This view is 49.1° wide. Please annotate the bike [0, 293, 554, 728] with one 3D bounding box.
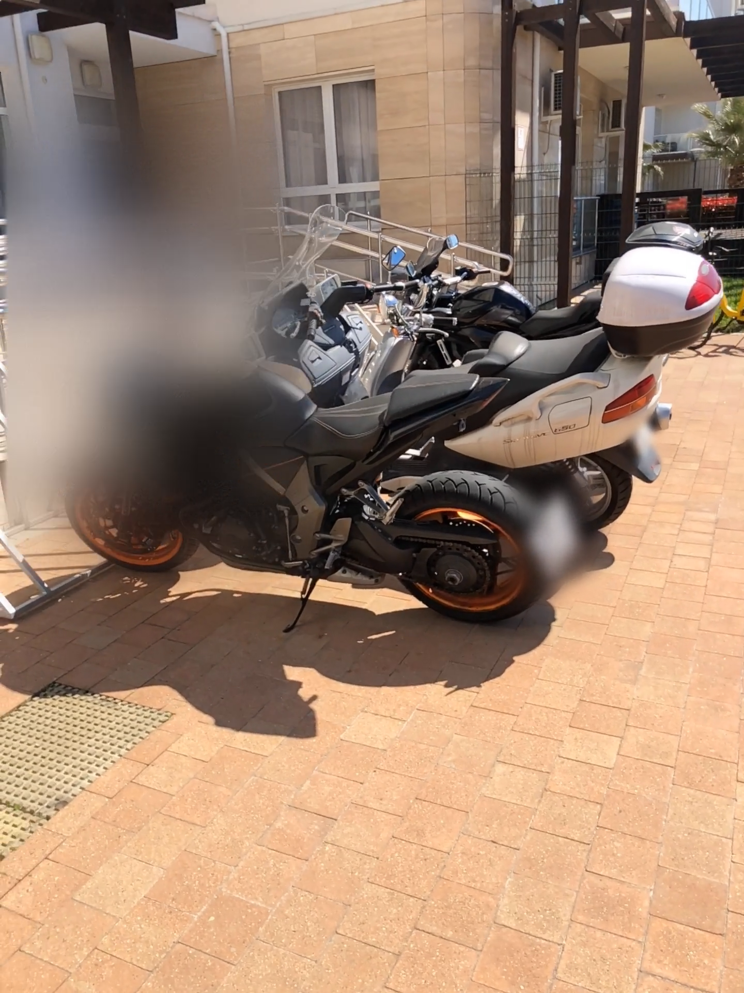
[{"bbox_3d":[-0.386,-0.096,2.949,1.950,1.171,0.798,5,20,23],"label":"bike"}]
